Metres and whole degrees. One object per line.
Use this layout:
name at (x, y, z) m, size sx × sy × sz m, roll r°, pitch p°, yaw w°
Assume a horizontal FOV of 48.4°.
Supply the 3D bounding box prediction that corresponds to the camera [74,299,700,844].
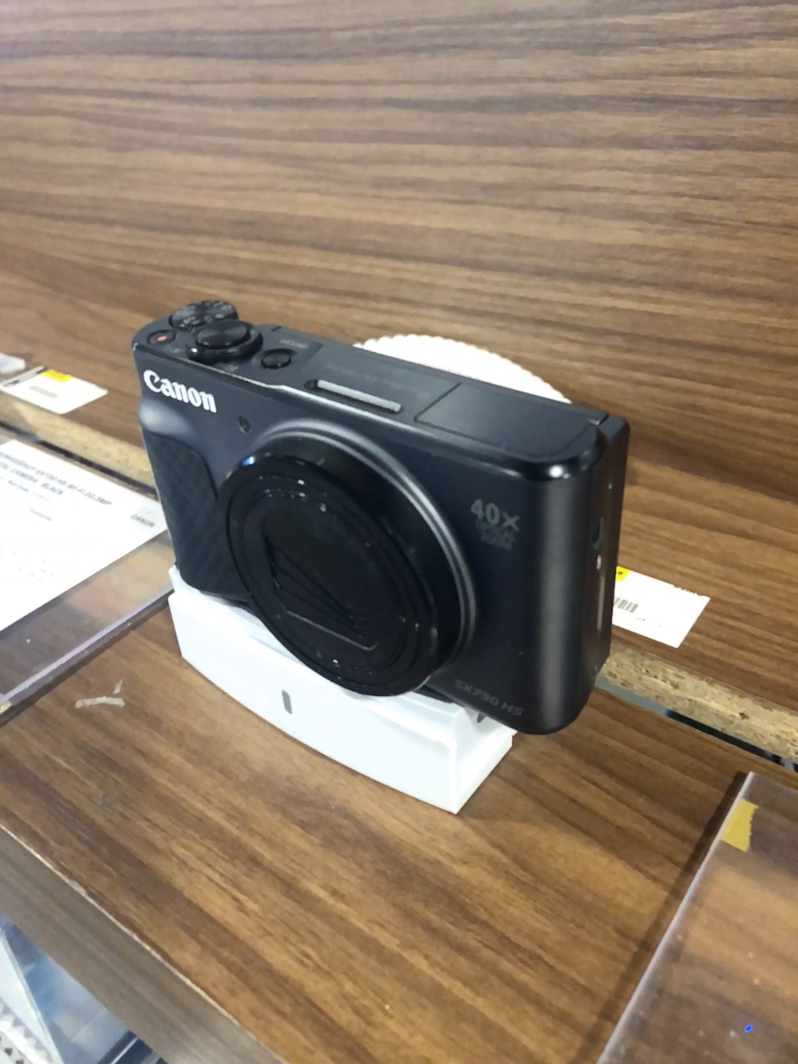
camera at (-0.006, 0.001, 0.172) m, size 0.110 × 0.063 × 0.037 m, roll 22°, pitch 44°, yaw 31°
